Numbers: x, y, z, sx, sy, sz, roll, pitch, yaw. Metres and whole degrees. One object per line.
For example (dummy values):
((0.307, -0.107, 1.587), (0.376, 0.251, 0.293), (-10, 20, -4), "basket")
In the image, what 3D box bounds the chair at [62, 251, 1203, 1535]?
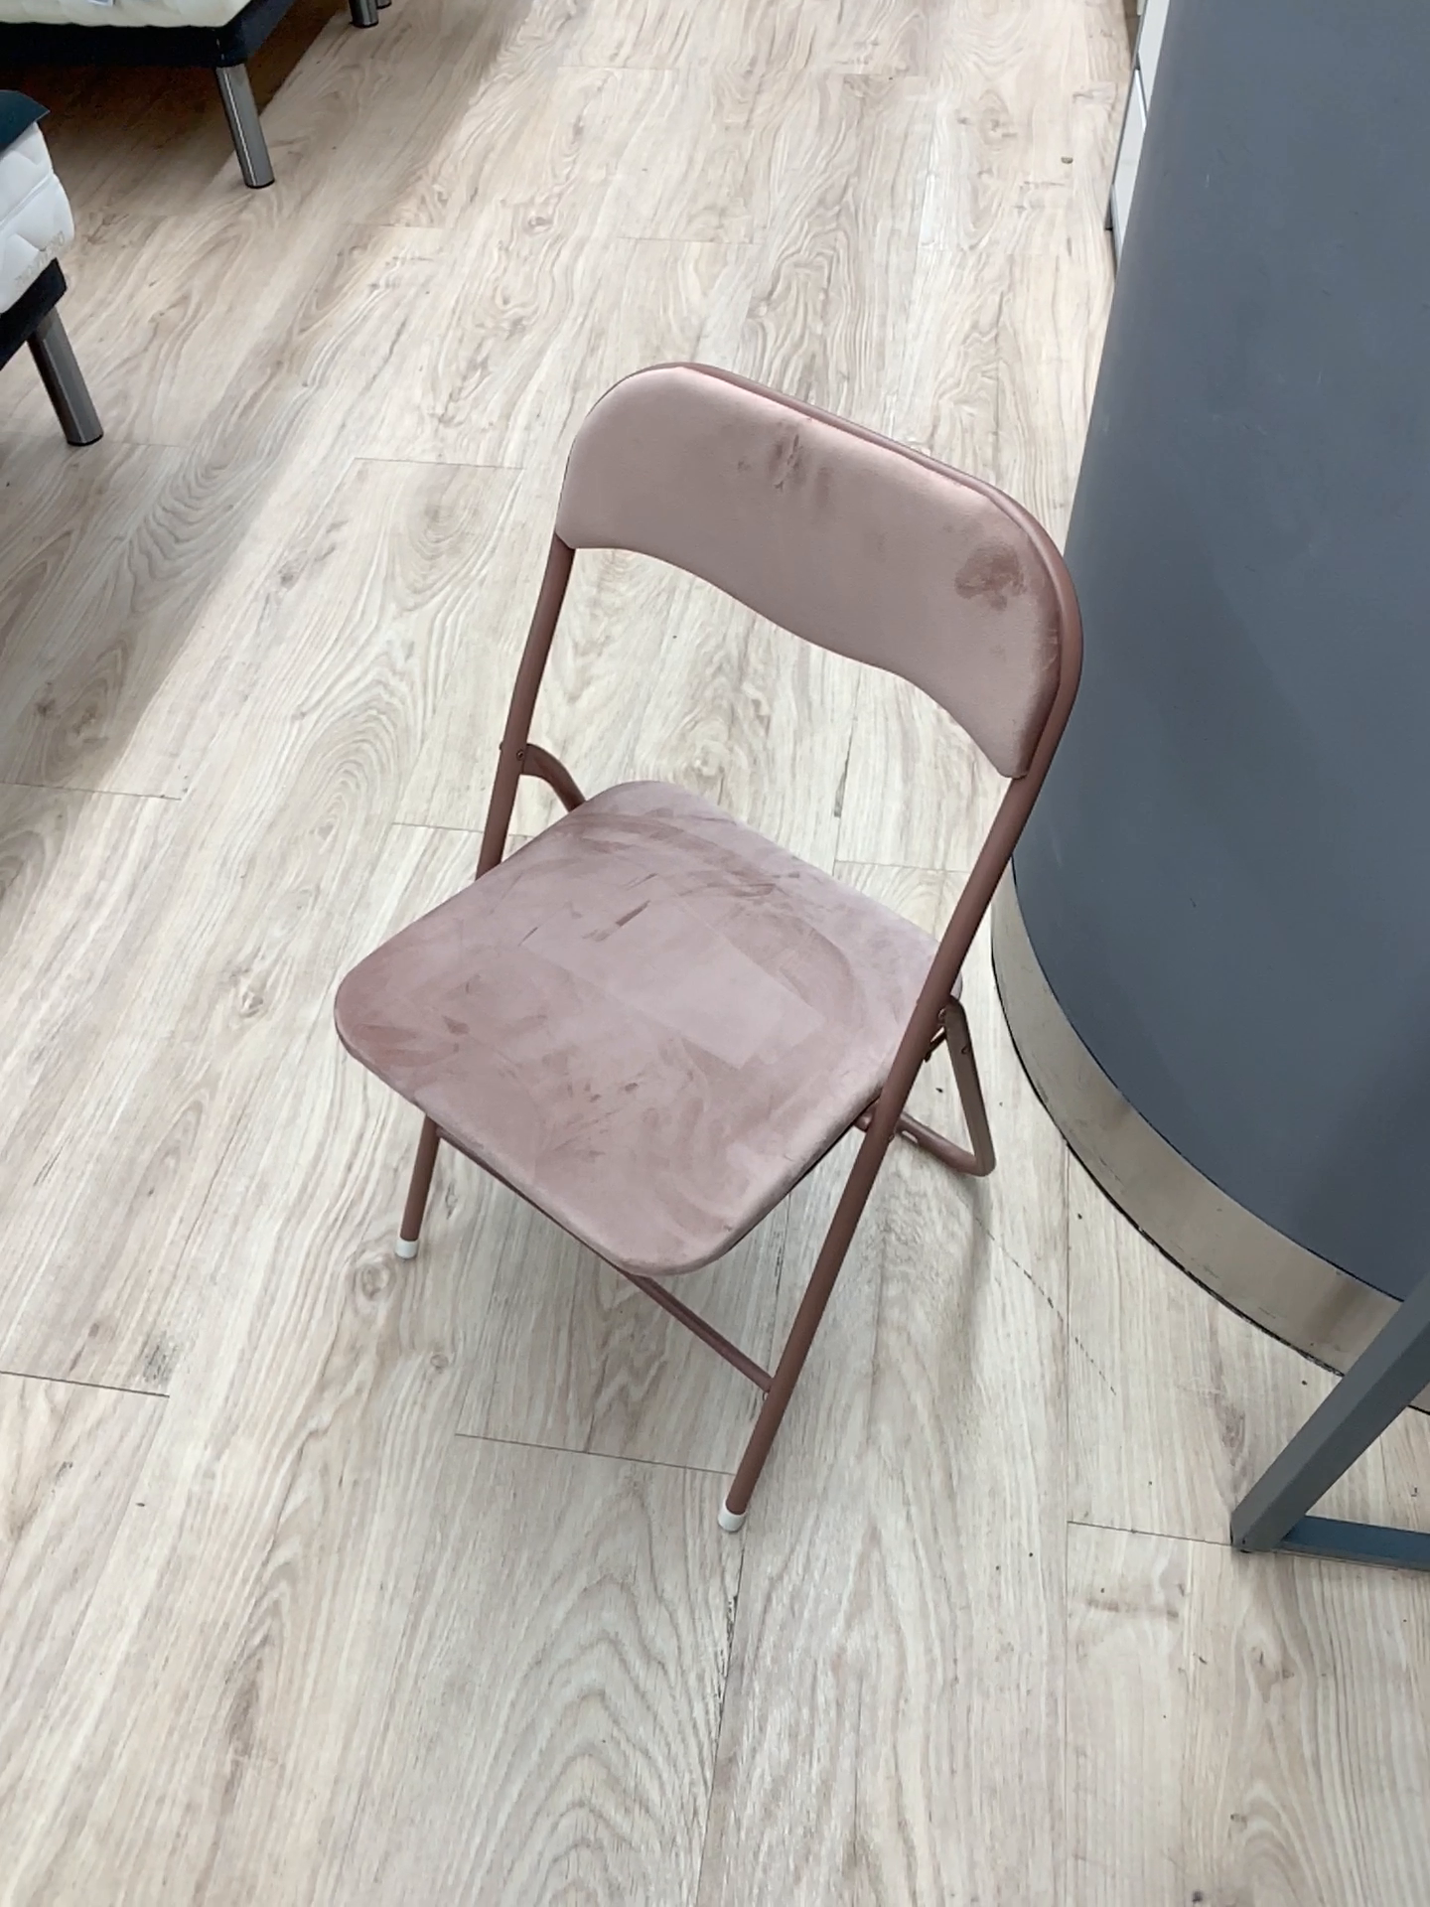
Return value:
((-0.028, 0.001, 1.157), (0.461, 0.797, 0.481), (30, 59, 23), "chair")
